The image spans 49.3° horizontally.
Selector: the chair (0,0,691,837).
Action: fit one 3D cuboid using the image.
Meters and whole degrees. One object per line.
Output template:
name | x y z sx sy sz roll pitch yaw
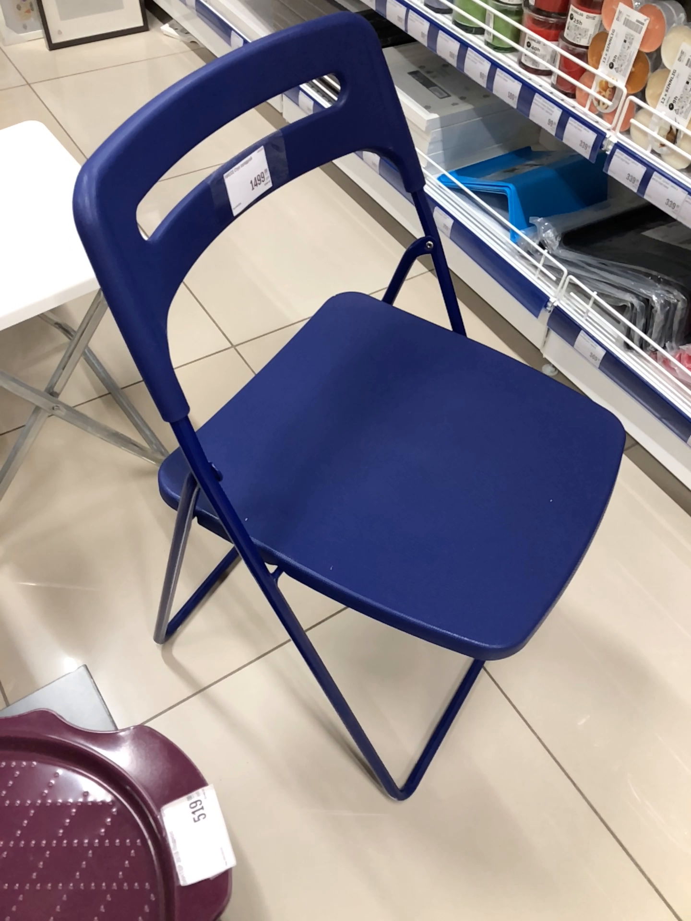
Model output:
chair | 0.033 -0.010 0.835 0.465 0.706 0.452 28 55 17
